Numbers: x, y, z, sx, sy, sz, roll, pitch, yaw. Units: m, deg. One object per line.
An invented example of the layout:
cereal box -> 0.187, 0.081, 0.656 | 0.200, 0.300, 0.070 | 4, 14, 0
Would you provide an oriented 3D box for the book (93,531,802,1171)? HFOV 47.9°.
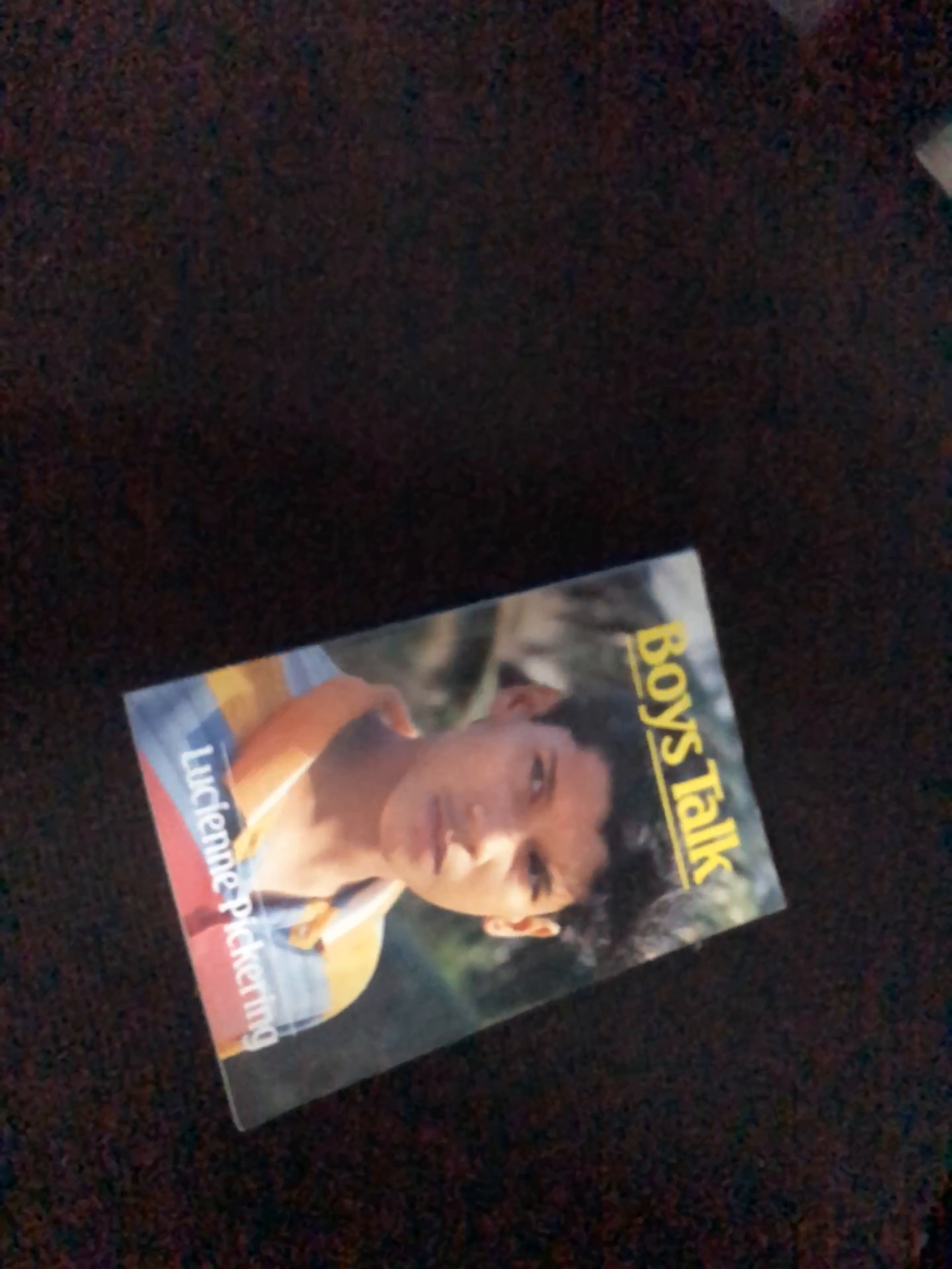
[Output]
book -> 0.003, 0.053, 0.312 | 0.191, 0.010, 0.130 | -15, 94, -22
